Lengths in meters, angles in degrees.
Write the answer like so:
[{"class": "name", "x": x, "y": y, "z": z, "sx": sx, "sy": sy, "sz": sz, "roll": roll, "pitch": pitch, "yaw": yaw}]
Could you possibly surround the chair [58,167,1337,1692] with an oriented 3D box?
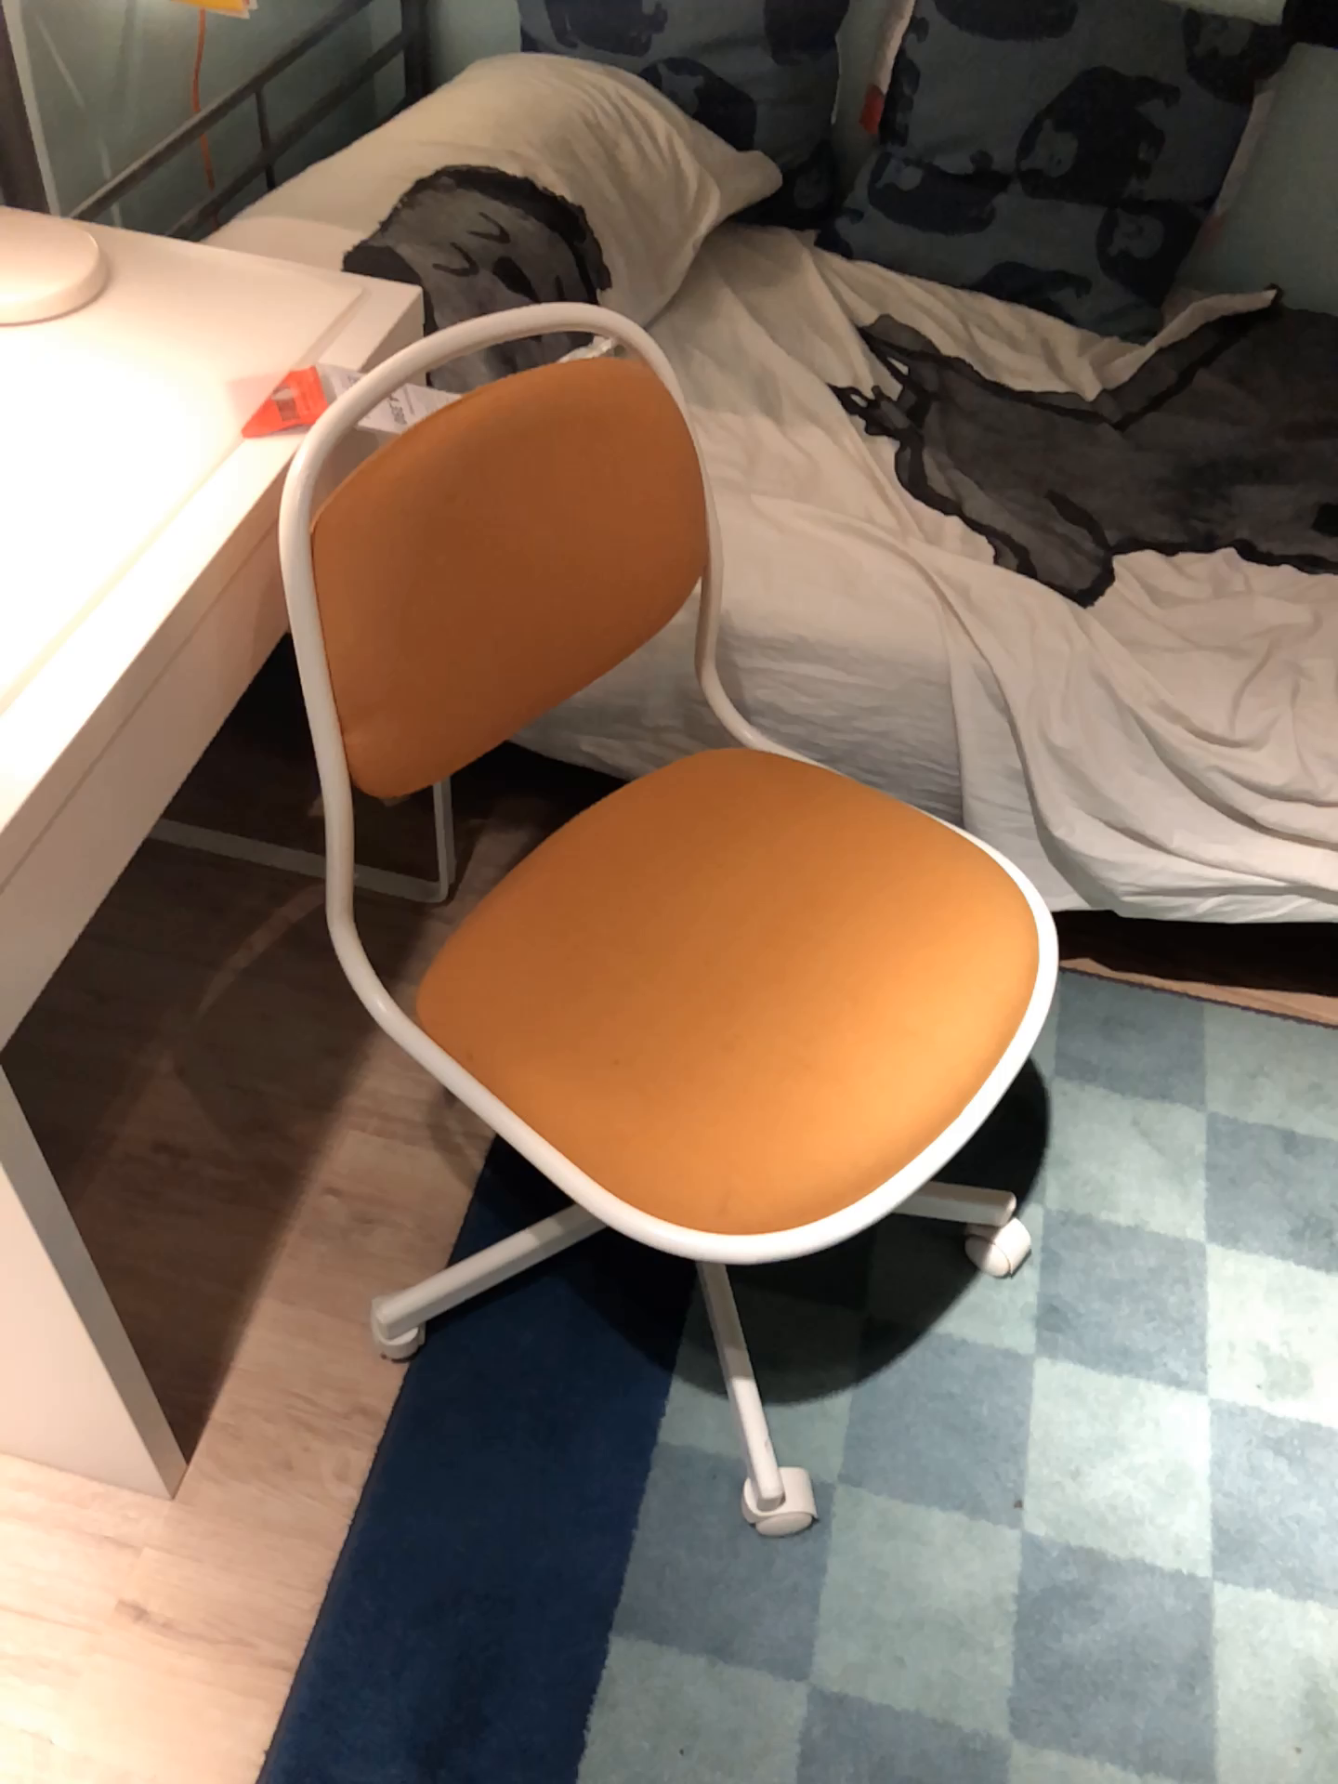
[{"class": "chair", "x": 0.067, "y": 0.038, "z": 1.107, "sx": 0.561, "sy": 0.795, "sz": 0.612, "roll": 34, "pitch": 54, "yaw": 23}]
